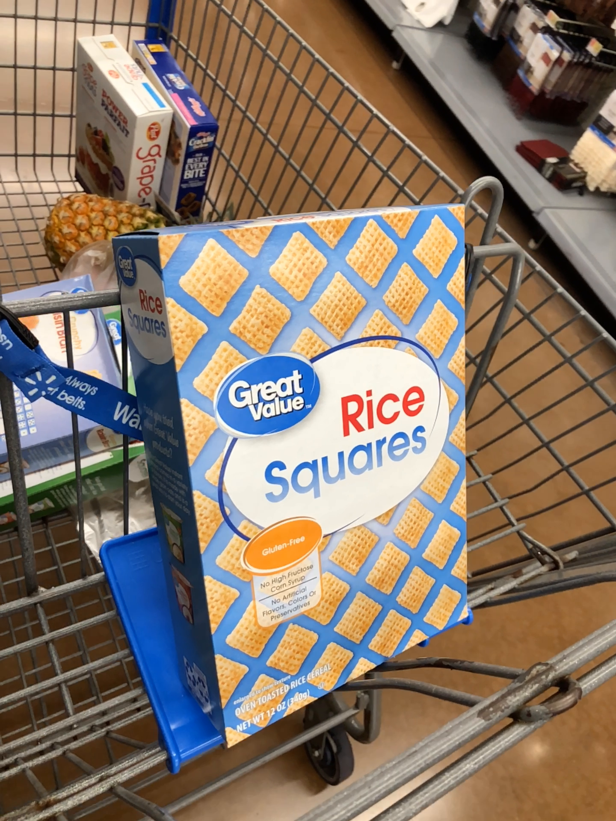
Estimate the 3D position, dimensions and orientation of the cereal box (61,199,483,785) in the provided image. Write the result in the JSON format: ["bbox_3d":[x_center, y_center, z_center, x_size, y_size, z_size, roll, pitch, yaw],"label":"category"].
[{"bbox_3d":[-0.002,0.030,0.403,0.211,0.280,0.080,-16,19,-31],"label":"cereal box"}]
